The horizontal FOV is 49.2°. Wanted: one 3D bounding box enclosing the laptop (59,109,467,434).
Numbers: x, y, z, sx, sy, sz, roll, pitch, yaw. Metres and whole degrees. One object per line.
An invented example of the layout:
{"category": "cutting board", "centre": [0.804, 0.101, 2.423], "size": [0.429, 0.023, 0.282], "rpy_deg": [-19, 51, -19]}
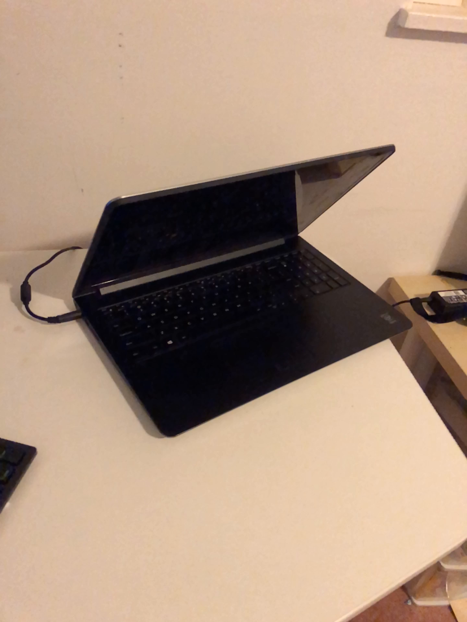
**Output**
{"category": "laptop", "centre": [0.029, -0.079, 0.619], "size": [0.374, 0.207, 0.252], "rpy_deg": [-19, 46, -28]}
